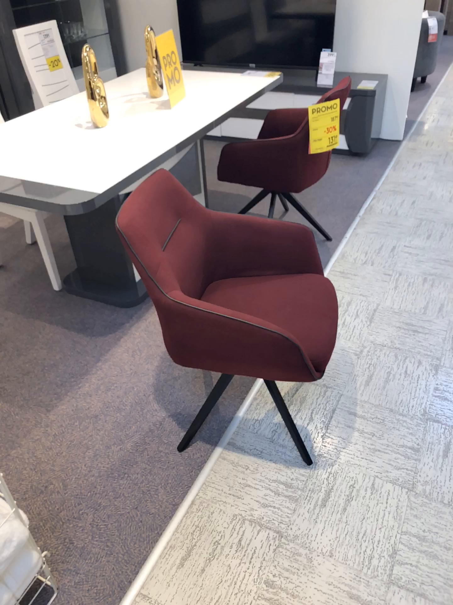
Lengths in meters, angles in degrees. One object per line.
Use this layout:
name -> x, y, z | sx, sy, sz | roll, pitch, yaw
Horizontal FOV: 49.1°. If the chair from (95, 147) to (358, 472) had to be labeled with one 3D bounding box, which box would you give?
chair -> 0.059, 0.000, 1.500 | 0.570, 0.735, 0.584 | 4, 37, 10
